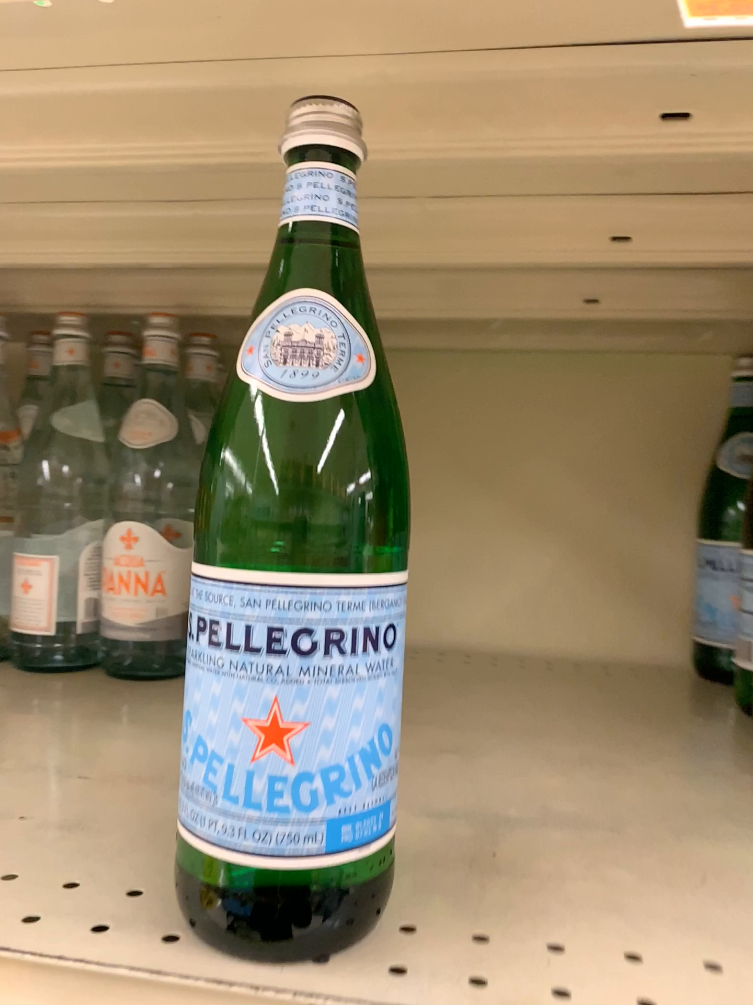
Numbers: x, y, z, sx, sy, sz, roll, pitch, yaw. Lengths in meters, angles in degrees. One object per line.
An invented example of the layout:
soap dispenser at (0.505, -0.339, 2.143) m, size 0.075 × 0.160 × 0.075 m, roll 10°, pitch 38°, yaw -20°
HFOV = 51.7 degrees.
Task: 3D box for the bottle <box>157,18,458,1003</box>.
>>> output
bottle at (-0.021, 0.001, 0.280) m, size 0.078 × 0.302 × 0.065 m, roll 3°, pitch 1°, yaw 16°
